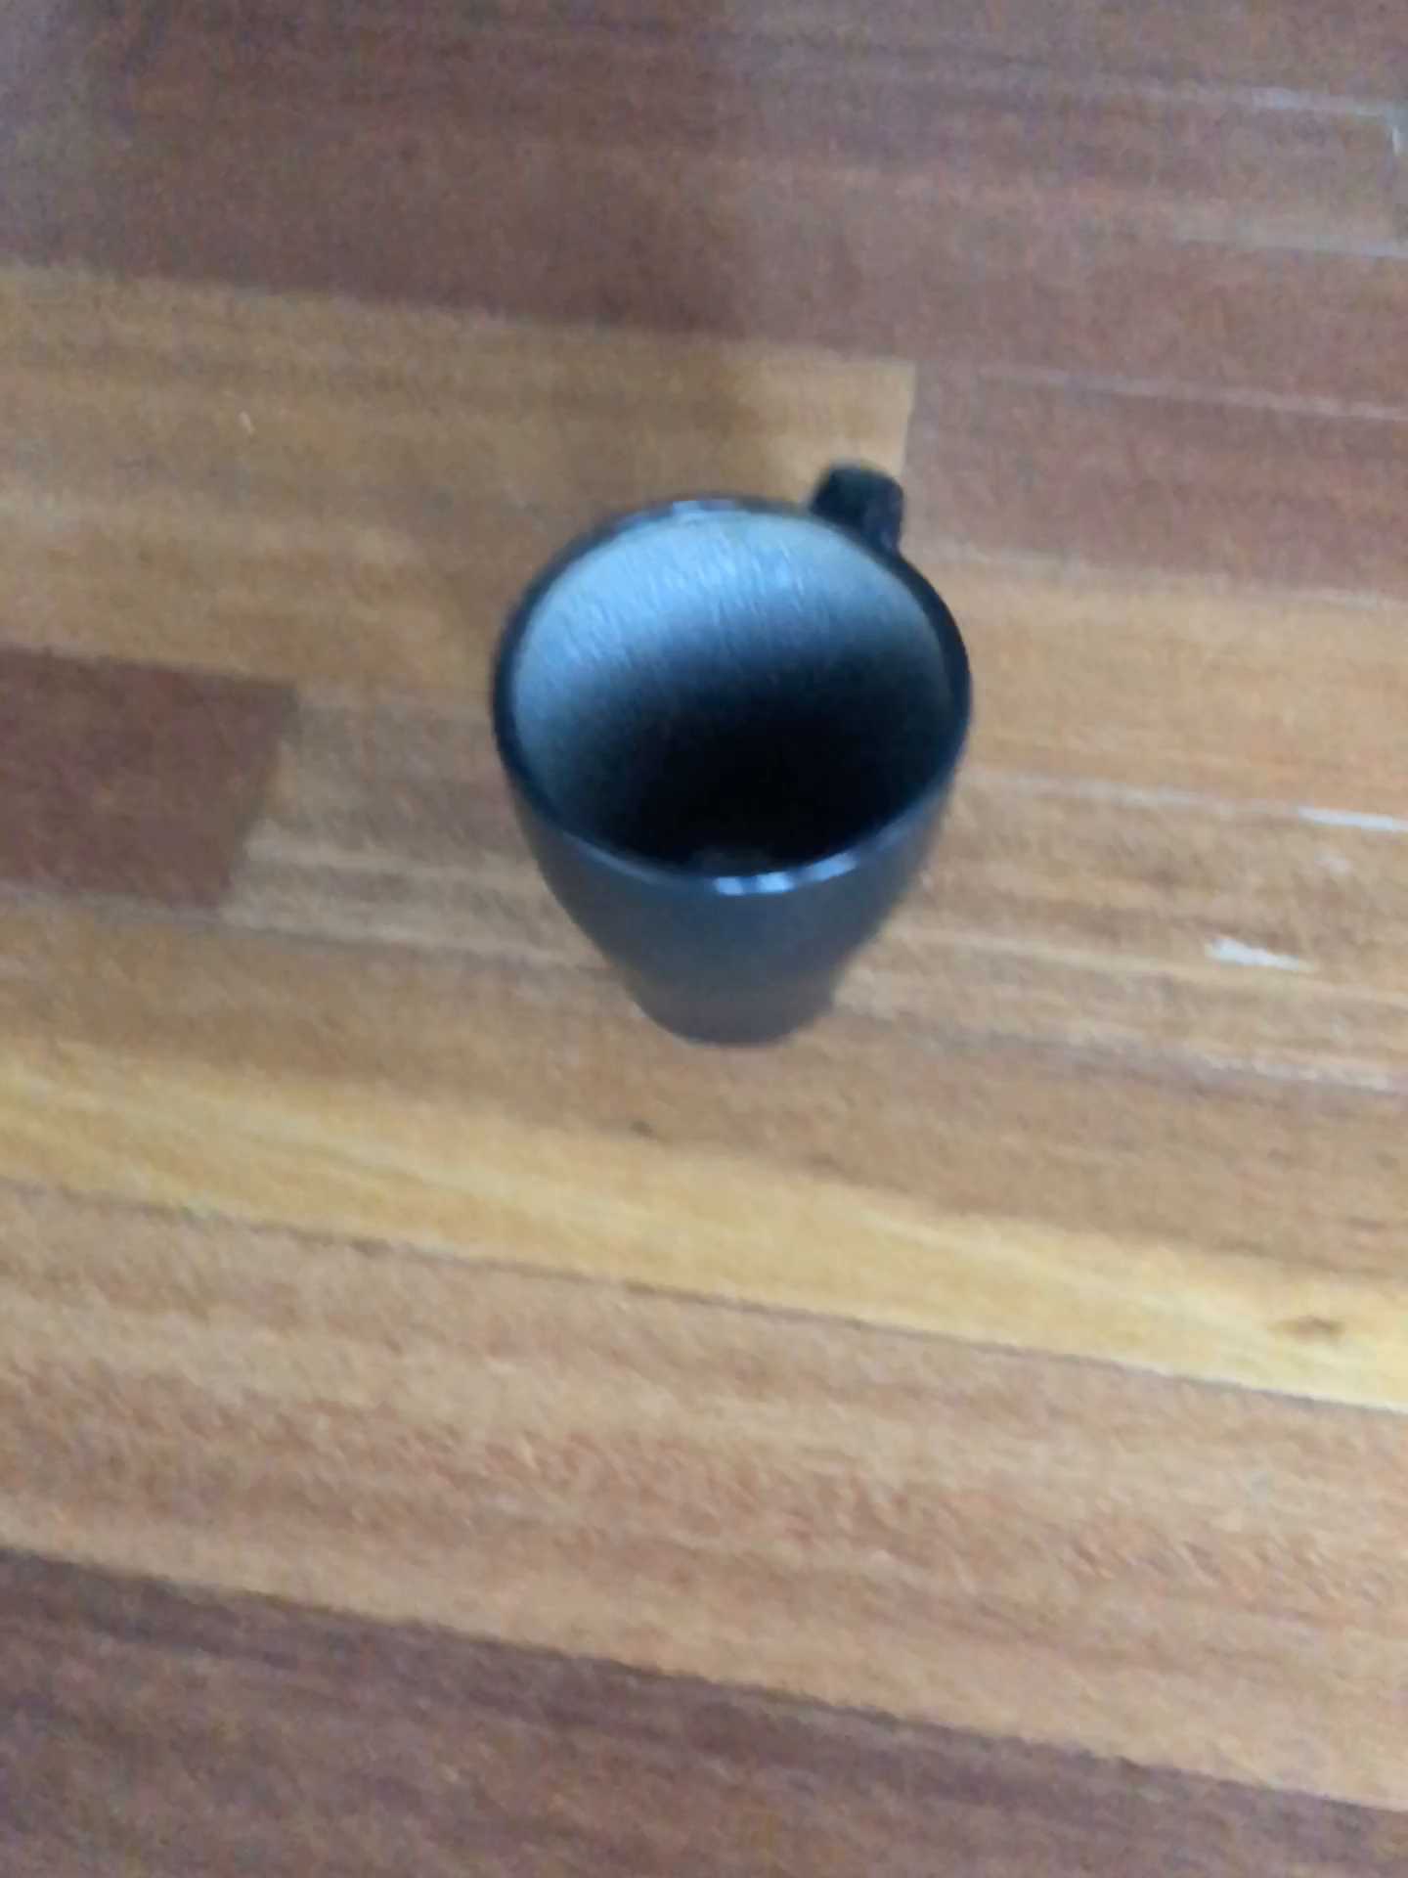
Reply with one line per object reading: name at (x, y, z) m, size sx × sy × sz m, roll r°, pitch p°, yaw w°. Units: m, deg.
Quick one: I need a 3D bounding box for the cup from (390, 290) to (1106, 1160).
cup at (0.014, -0.046, 0.340) m, size 0.090 × 0.100 × 0.137 m, roll 21°, pitch 64°, yaw 12°
